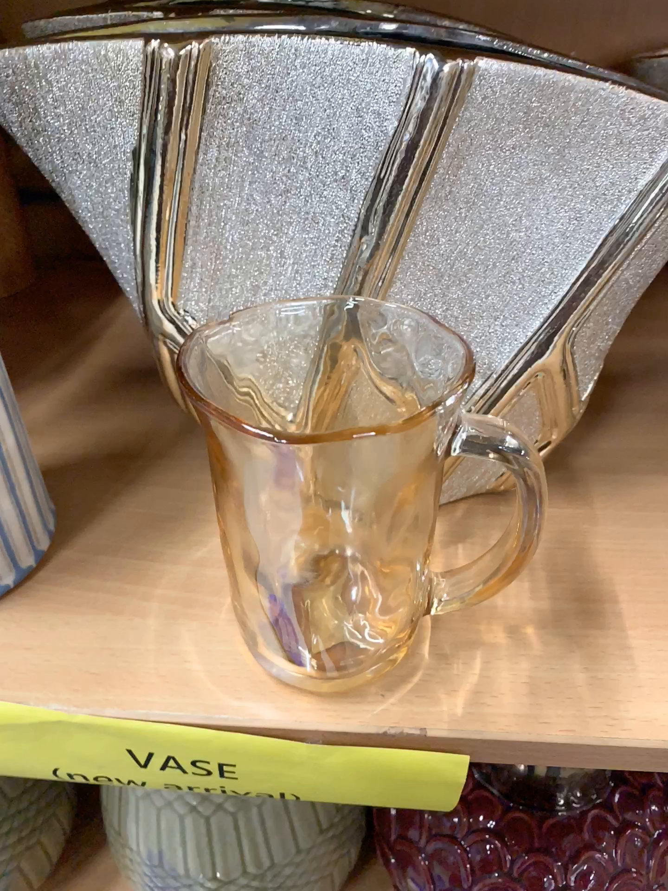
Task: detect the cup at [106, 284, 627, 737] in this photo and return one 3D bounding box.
[{"bbox_3d":[0.009,0.017,0.208,0.110,0.100,0.080,3,36,5],"label":"cup"}]
